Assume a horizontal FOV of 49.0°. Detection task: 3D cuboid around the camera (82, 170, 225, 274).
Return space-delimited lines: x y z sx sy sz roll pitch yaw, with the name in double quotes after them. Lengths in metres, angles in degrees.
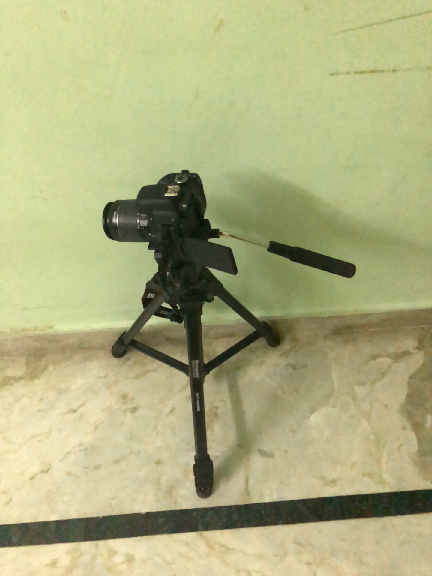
-0.091 -0.105 0.762 0.190 0.099 0.131 1 54 9 "camera"
